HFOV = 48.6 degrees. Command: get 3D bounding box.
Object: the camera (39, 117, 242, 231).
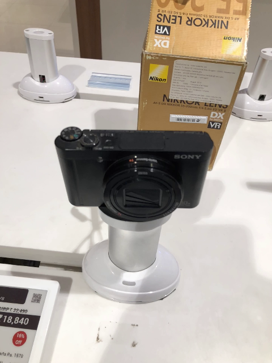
[{"bbox_3d":[0.002,-0.002,0.199,0.110,0.070,0.030,3,47,-1],"label":"camera"}]
